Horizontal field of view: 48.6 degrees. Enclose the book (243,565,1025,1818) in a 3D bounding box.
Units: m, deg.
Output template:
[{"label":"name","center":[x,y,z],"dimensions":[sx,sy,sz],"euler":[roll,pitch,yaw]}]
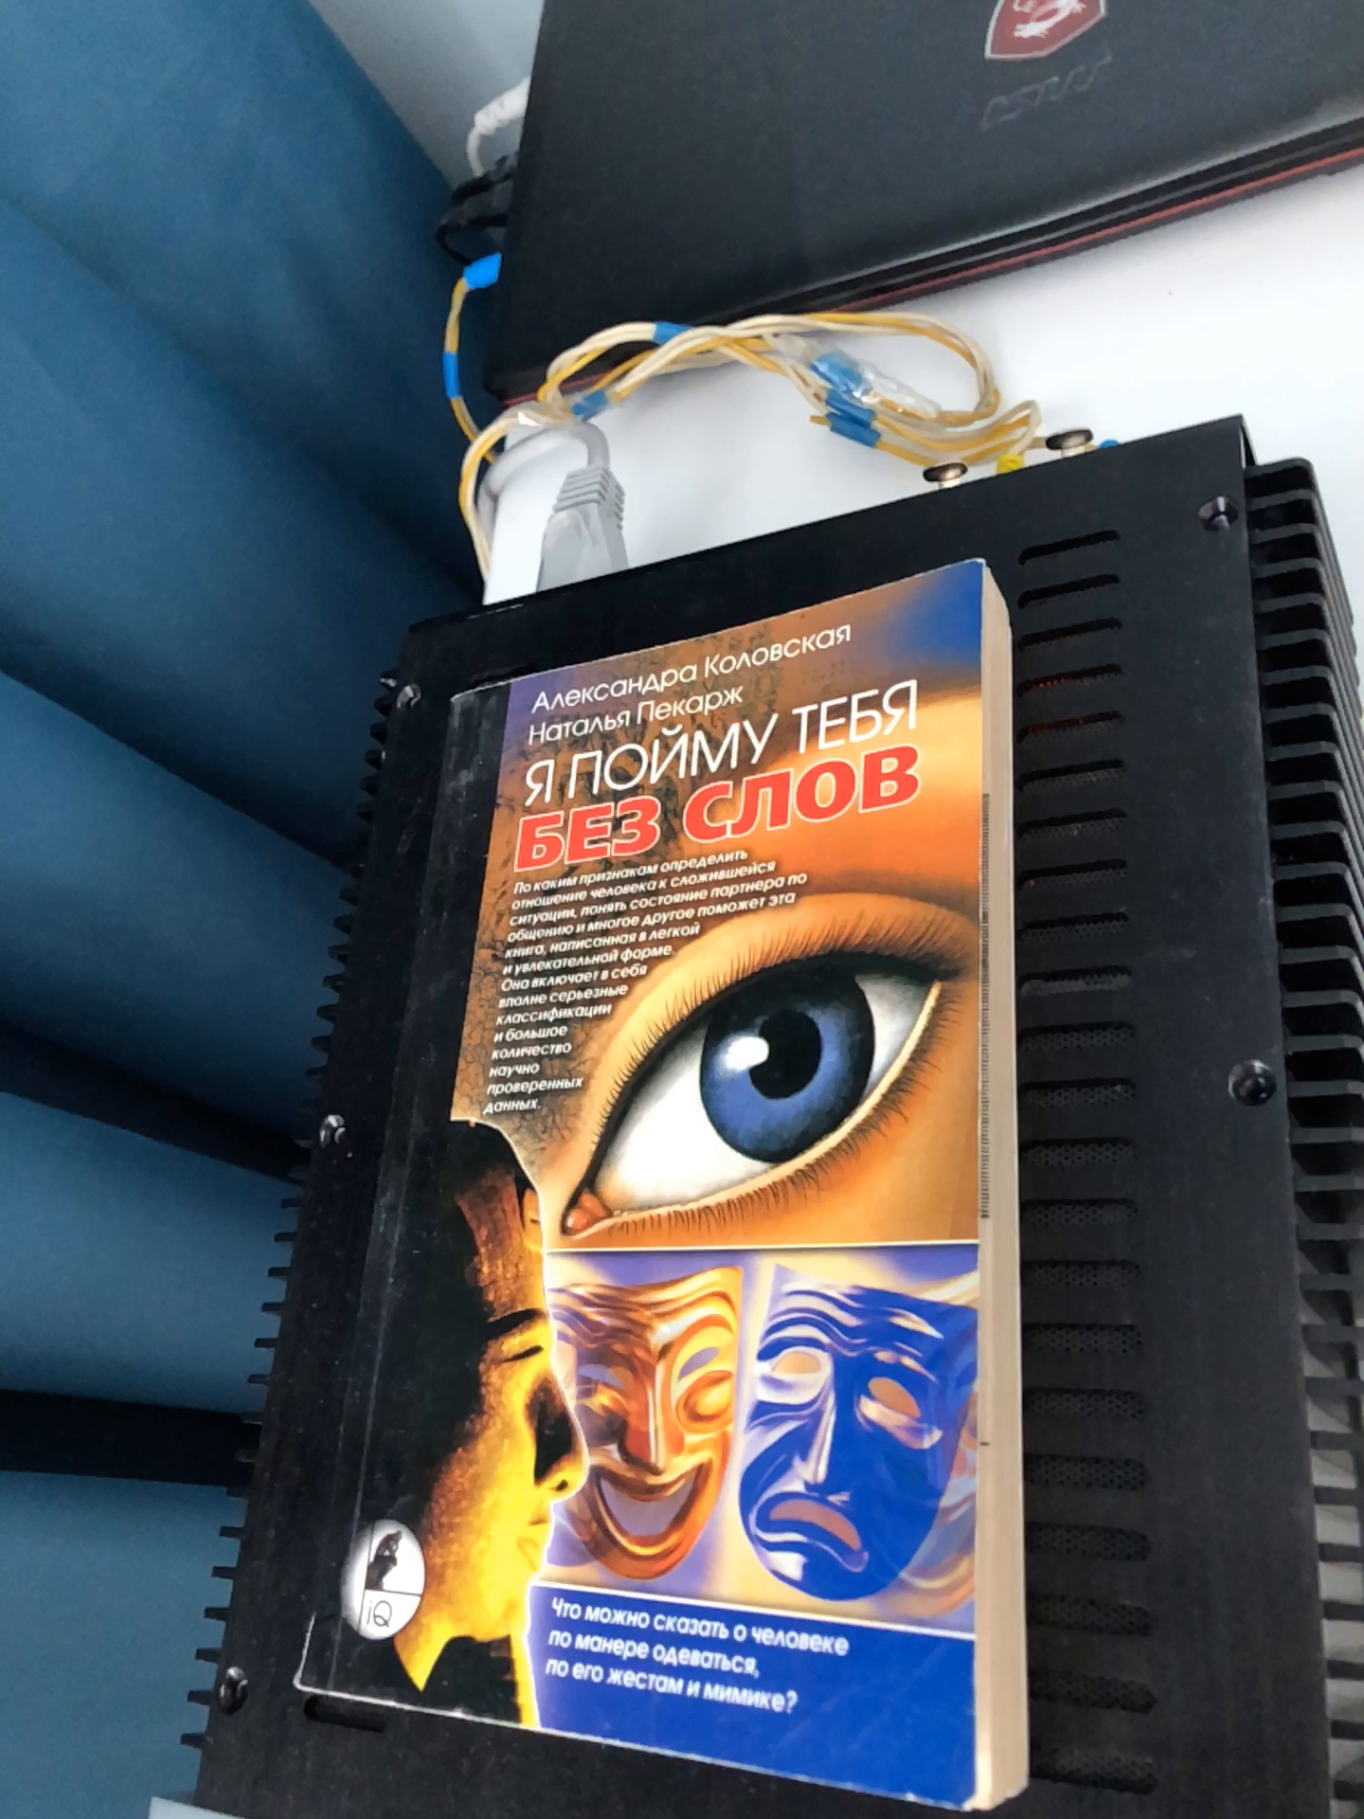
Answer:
[{"label":"book","center":[-0.005,0.038,0.258],"dimensions":[0.123,0.023,0.183],"euler":[-8,65,29]}]
